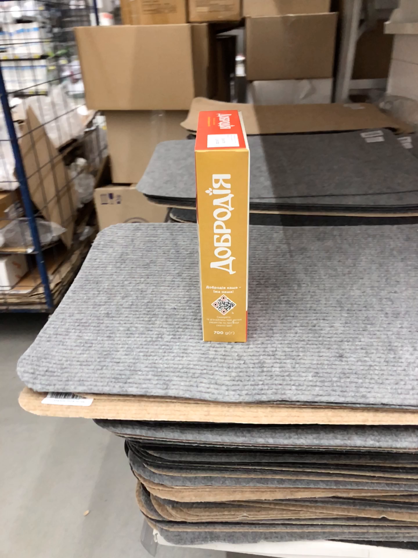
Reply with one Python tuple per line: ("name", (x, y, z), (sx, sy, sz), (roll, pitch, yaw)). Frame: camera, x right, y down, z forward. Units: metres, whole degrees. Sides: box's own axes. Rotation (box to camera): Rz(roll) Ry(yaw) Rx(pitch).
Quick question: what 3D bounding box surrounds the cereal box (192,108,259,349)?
("cereal box", (0.021, -0.065, 0.547), (0.060, 0.228, 0.181), (-1, 30, 2))
